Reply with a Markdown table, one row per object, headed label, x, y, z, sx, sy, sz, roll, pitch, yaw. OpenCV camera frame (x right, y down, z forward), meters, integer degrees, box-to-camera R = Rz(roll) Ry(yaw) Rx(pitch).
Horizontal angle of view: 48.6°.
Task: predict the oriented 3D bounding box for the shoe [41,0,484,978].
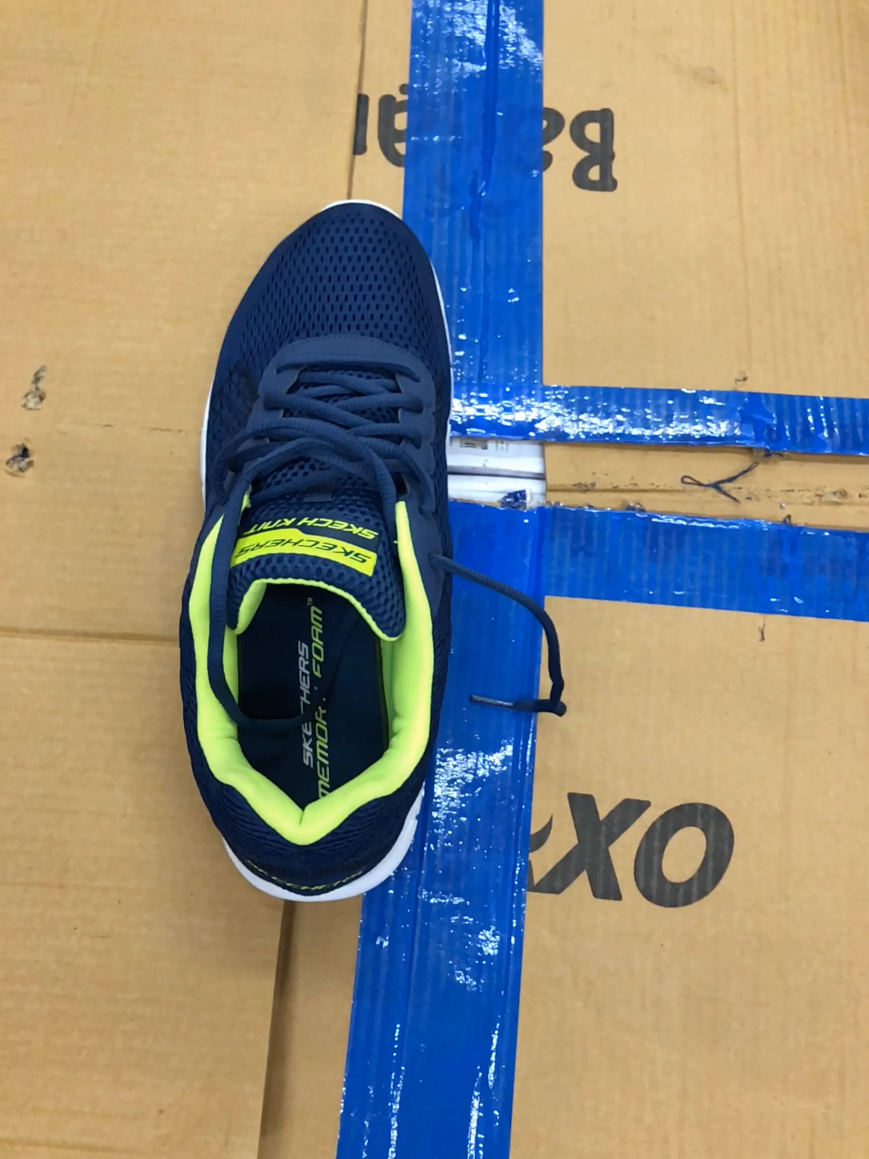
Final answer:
| label | x | y | z | sx | sy | sz | roll | pitch | yaw |
| --- | --- | --- | --- | --- | --- | --- | --- | --- | --- |
| shoe | -0.043 | -0.034 | 0.349 | 0.106 | 0.146 | 0.307 | 2 | 77 | -1 |
